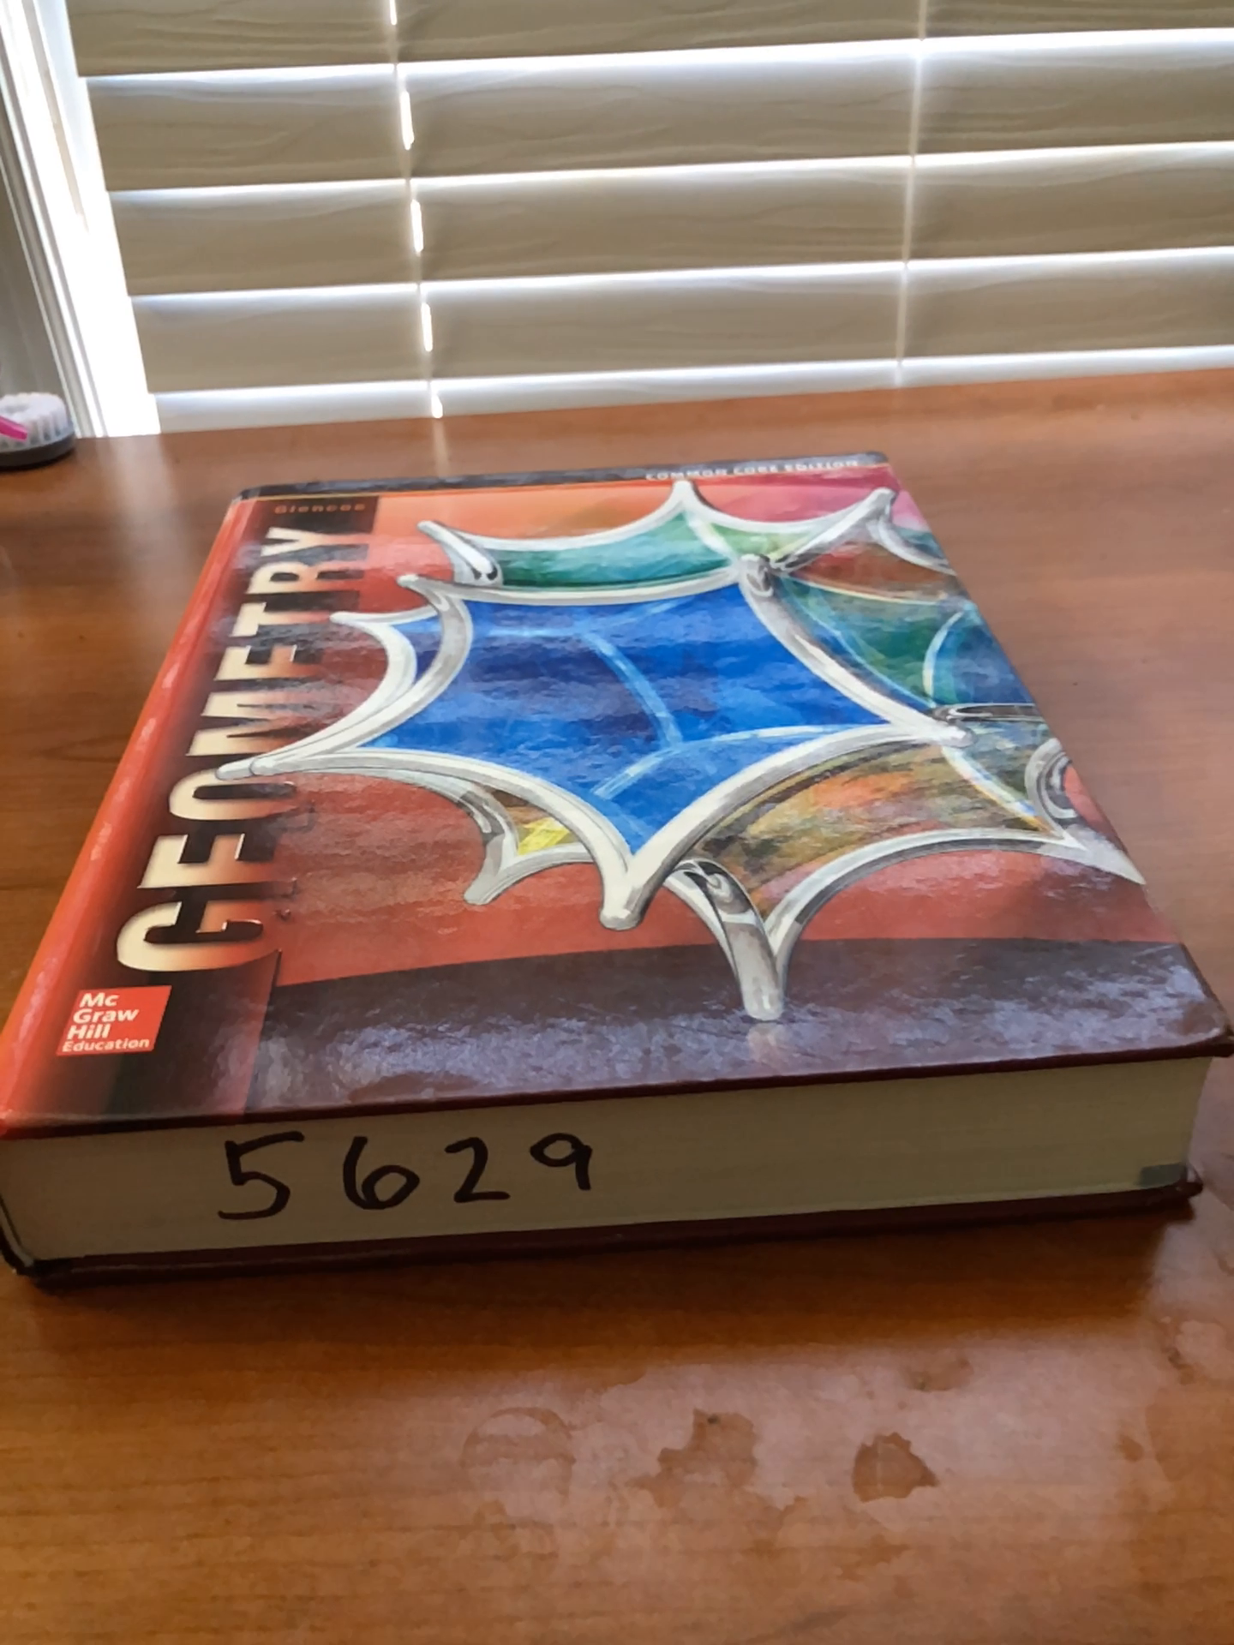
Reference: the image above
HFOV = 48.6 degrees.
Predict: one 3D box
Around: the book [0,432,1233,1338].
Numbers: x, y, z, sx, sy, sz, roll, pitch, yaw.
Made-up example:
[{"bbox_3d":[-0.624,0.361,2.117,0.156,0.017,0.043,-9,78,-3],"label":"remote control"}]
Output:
[{"bbox_3d":[-0.010,-0.022,0.367,0.229,0.050,0.312,-3,35,-1],"label":"book"}]
